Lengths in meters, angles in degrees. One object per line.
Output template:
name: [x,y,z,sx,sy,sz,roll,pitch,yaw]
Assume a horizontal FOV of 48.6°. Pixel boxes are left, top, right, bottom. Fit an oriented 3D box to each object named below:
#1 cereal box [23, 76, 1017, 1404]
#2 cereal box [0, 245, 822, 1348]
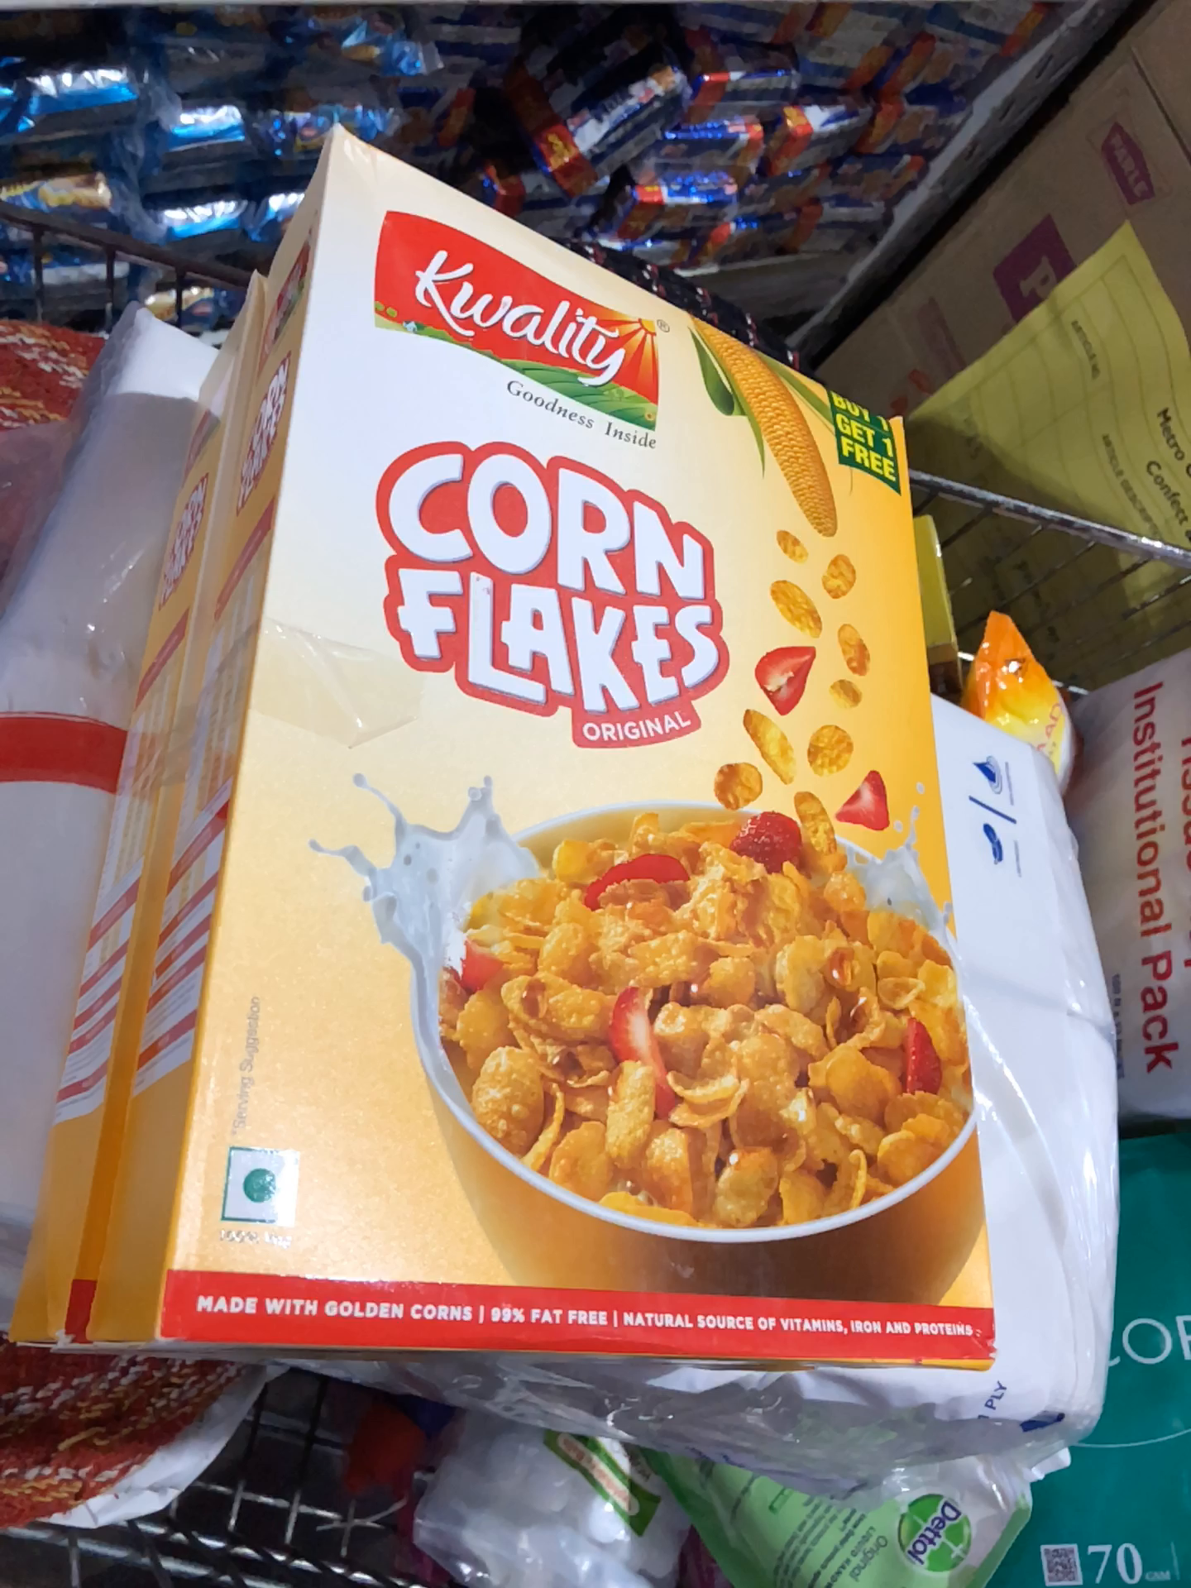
cereal box: [-0.002,-0.005,0.307,0.190,0.060,0.261,14,65,-29]
cereal box: [-0.041,0.011,0.369,0.200,0.070,0.261,14,65,-29]
